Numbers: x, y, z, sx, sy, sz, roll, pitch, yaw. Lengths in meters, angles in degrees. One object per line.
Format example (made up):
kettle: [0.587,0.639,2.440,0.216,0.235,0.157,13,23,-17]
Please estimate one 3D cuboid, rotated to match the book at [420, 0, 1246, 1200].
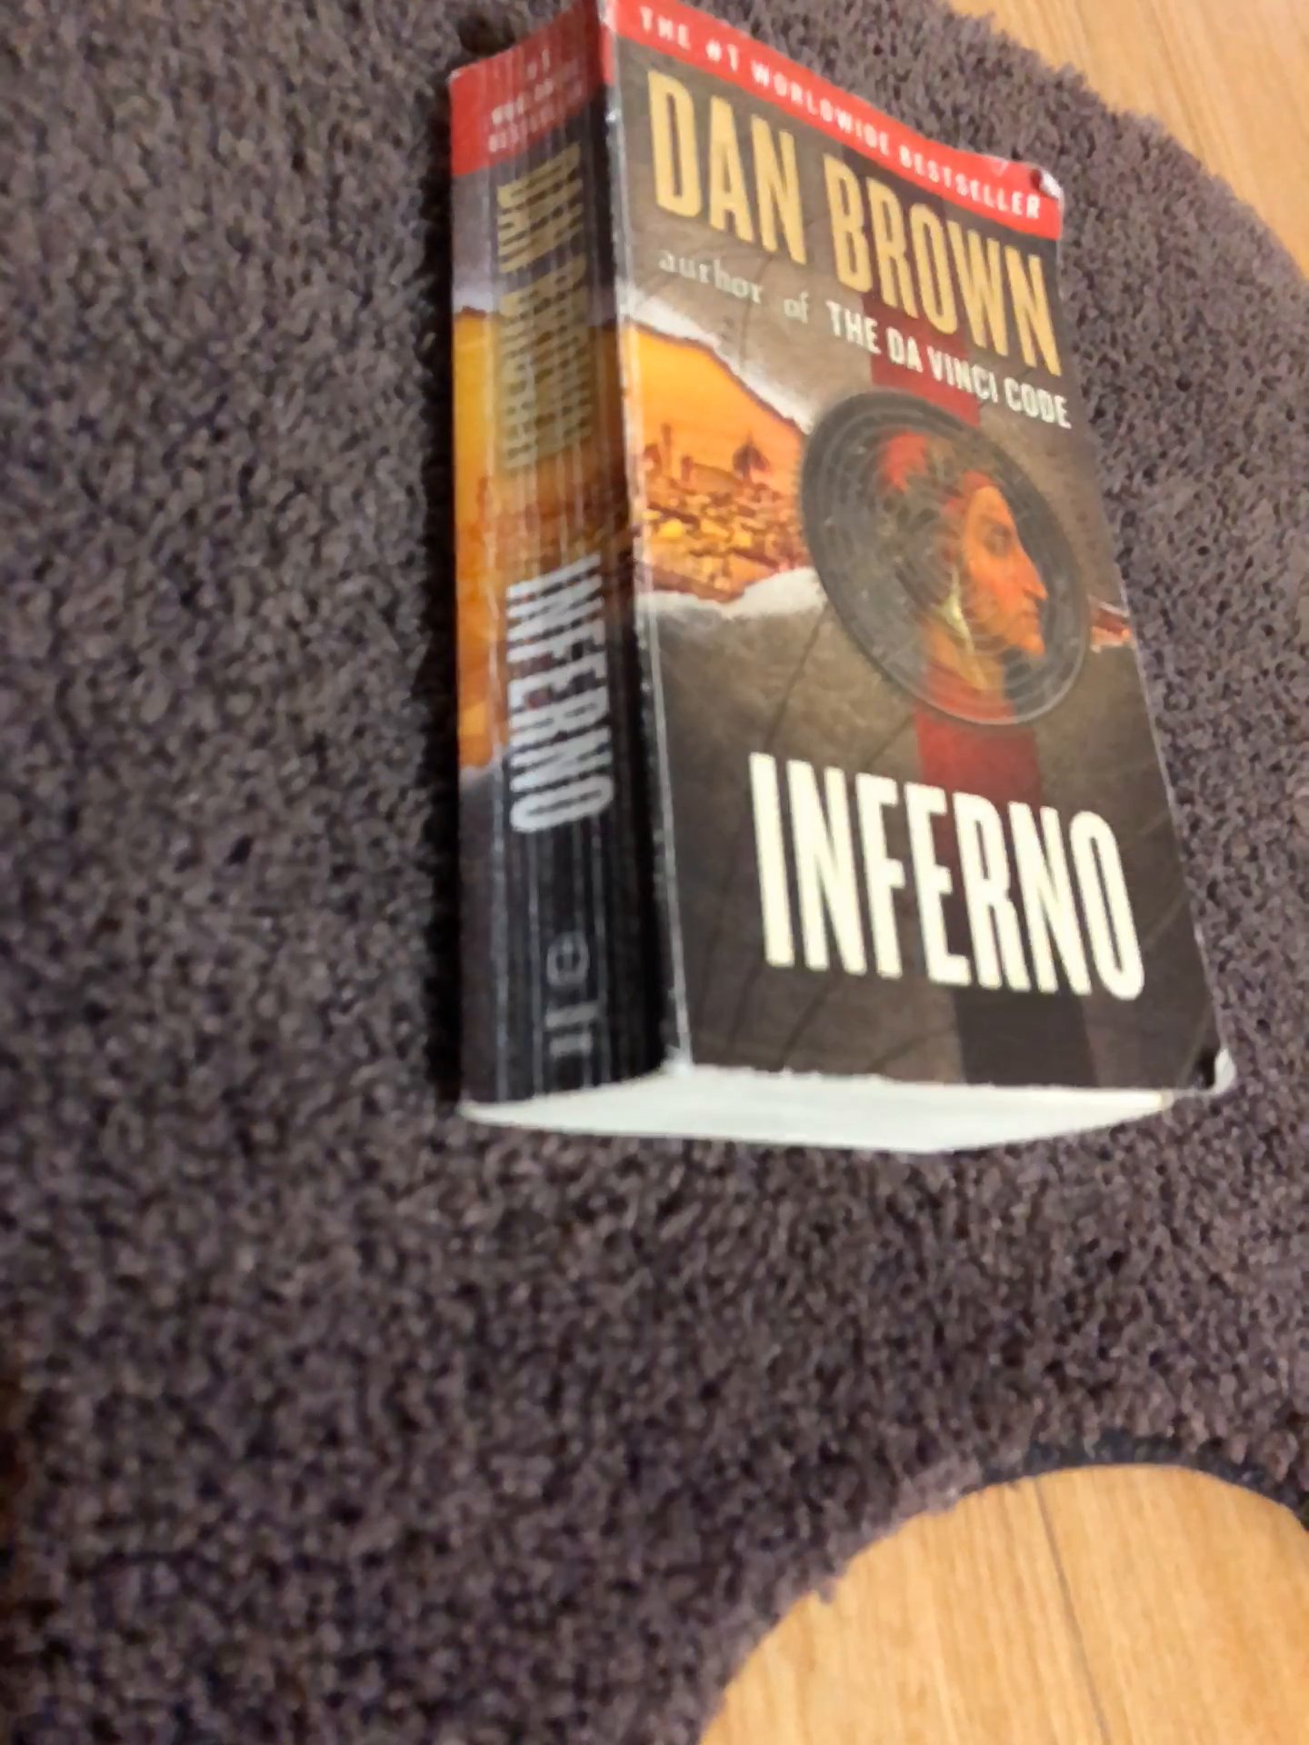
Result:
book: [0.026,-0.049,0.248,0.121,0.050,0.200,10,67,-35]
